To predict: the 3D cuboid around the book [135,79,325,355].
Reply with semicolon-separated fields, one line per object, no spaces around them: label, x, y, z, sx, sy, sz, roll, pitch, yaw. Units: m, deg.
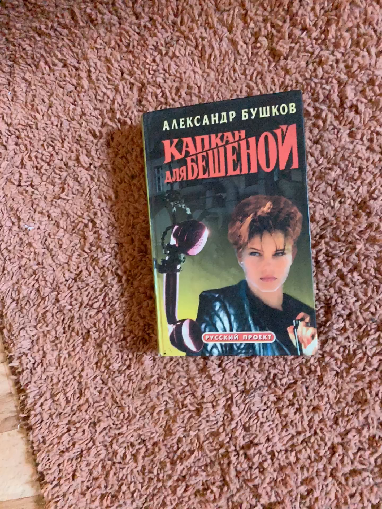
book;0.029;-0.022;0.298;0.124;0.027;0.190;-4;92;13
